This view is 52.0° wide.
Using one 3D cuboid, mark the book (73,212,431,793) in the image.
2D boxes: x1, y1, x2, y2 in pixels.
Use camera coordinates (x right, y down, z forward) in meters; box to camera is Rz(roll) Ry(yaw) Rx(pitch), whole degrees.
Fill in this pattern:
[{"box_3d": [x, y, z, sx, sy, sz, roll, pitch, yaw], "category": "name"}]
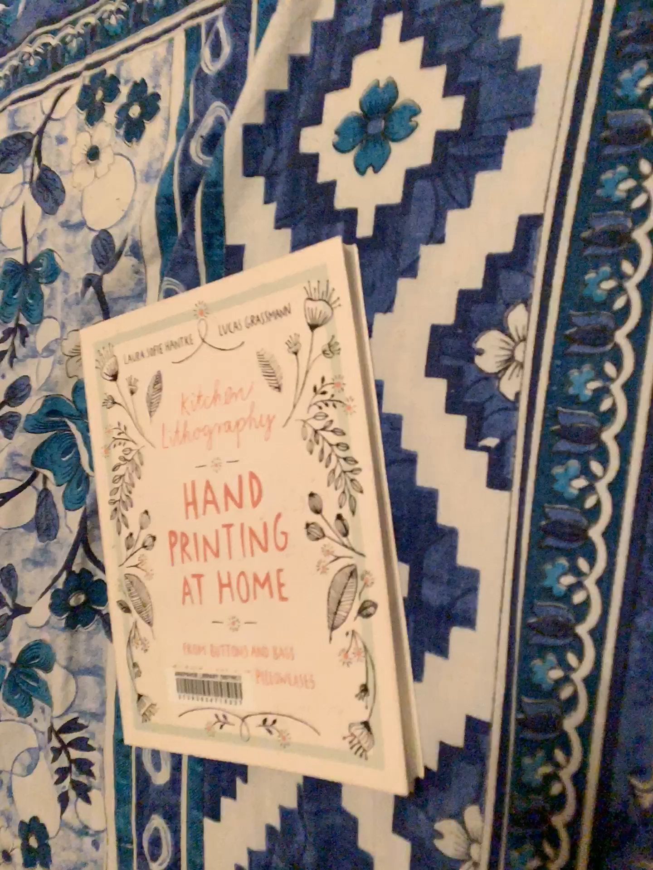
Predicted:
[{"box_3d": [-0.047, 0.034, 0.309, 0.171, 0.020, 0.220, -10, 84, 34], "category": "book"}]
